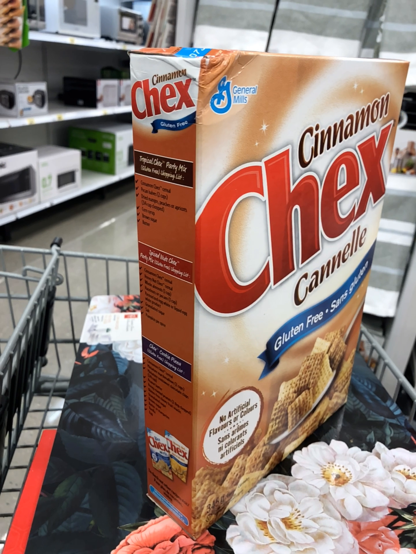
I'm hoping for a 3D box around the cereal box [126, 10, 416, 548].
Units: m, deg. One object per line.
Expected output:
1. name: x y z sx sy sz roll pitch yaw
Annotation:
1. cereal box: 0.050 -0.006 0.300 0.060 0.259 0.201 17 26 37
